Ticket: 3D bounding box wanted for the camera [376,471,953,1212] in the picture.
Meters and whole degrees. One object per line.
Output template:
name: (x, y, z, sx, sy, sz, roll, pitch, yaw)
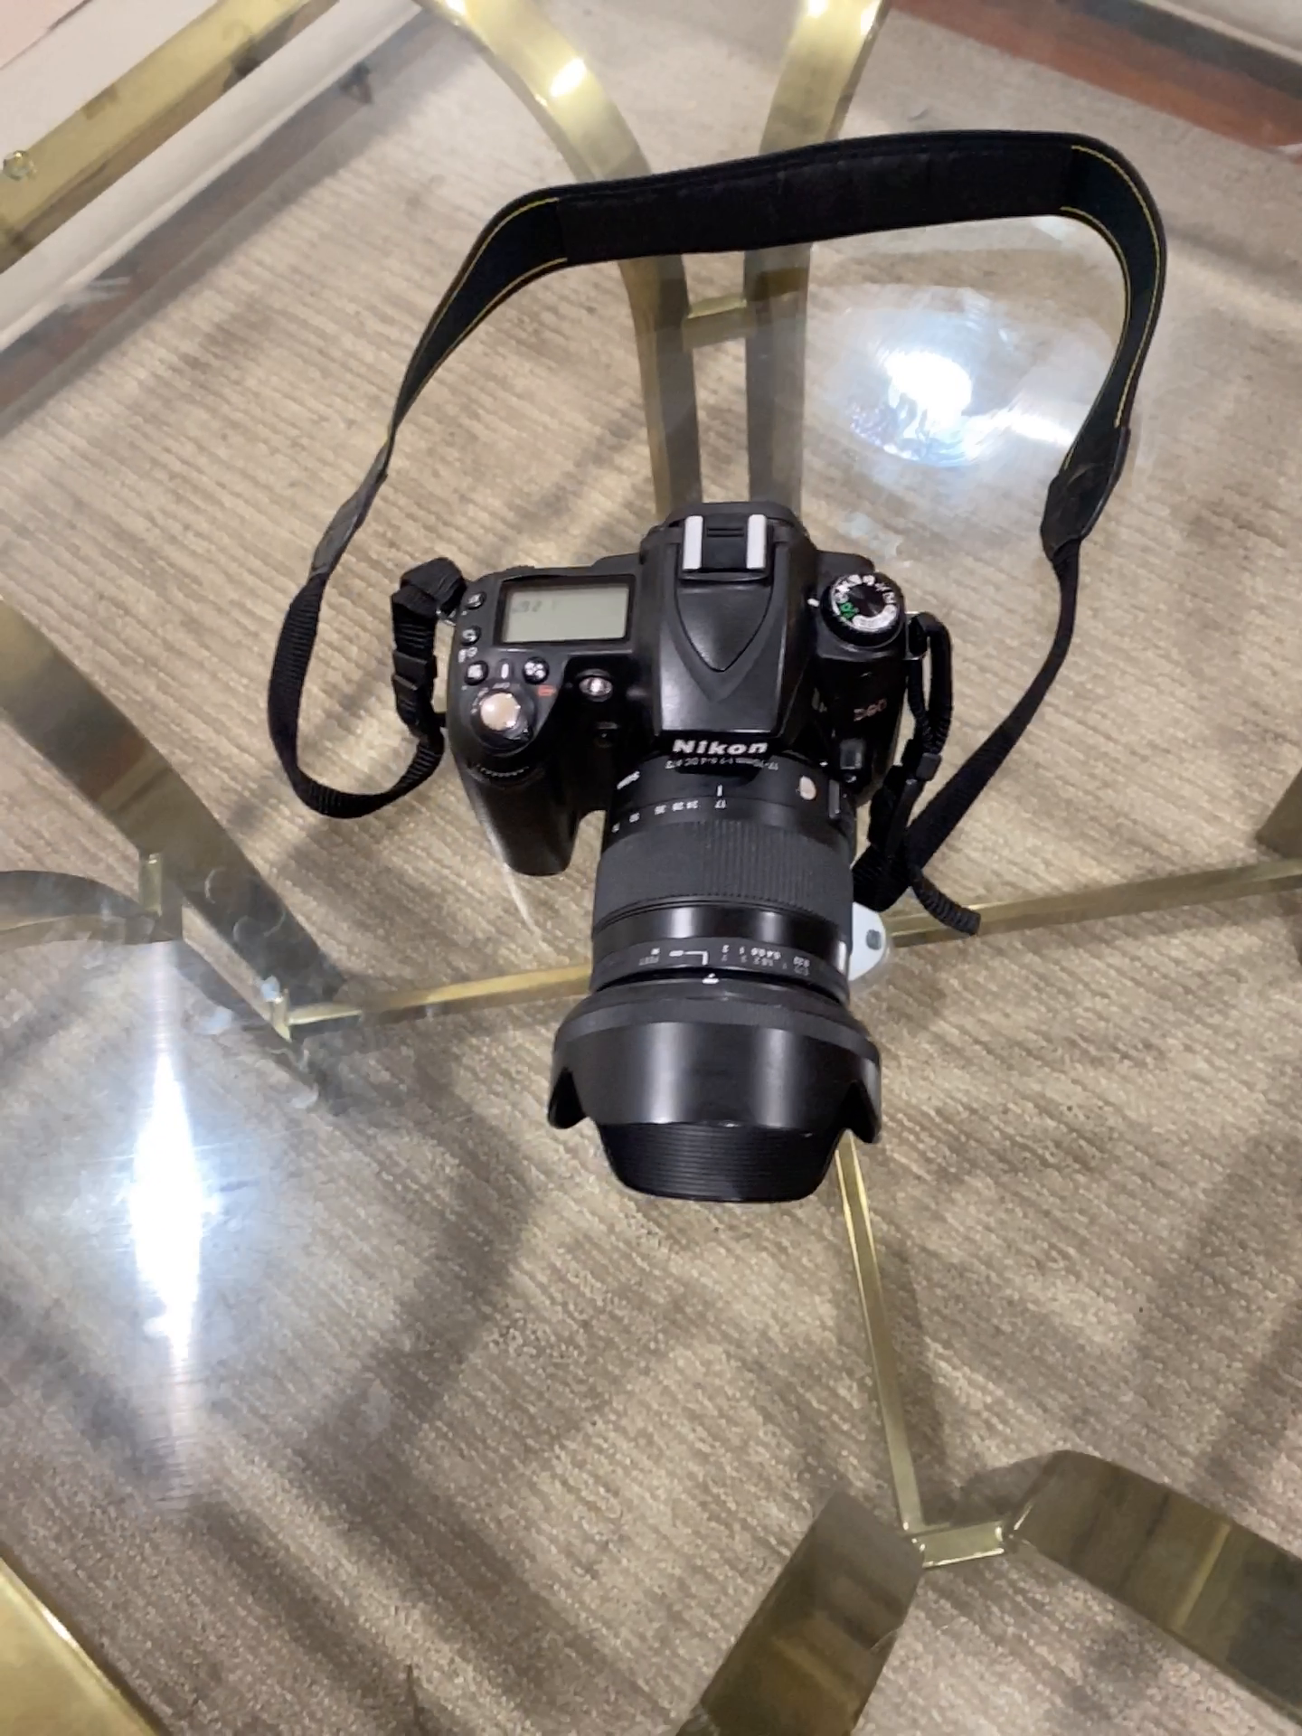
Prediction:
camera: (0.009, -0.003, 0.392, 0.130, 0.120, 0.180, -1, 64, 5)
